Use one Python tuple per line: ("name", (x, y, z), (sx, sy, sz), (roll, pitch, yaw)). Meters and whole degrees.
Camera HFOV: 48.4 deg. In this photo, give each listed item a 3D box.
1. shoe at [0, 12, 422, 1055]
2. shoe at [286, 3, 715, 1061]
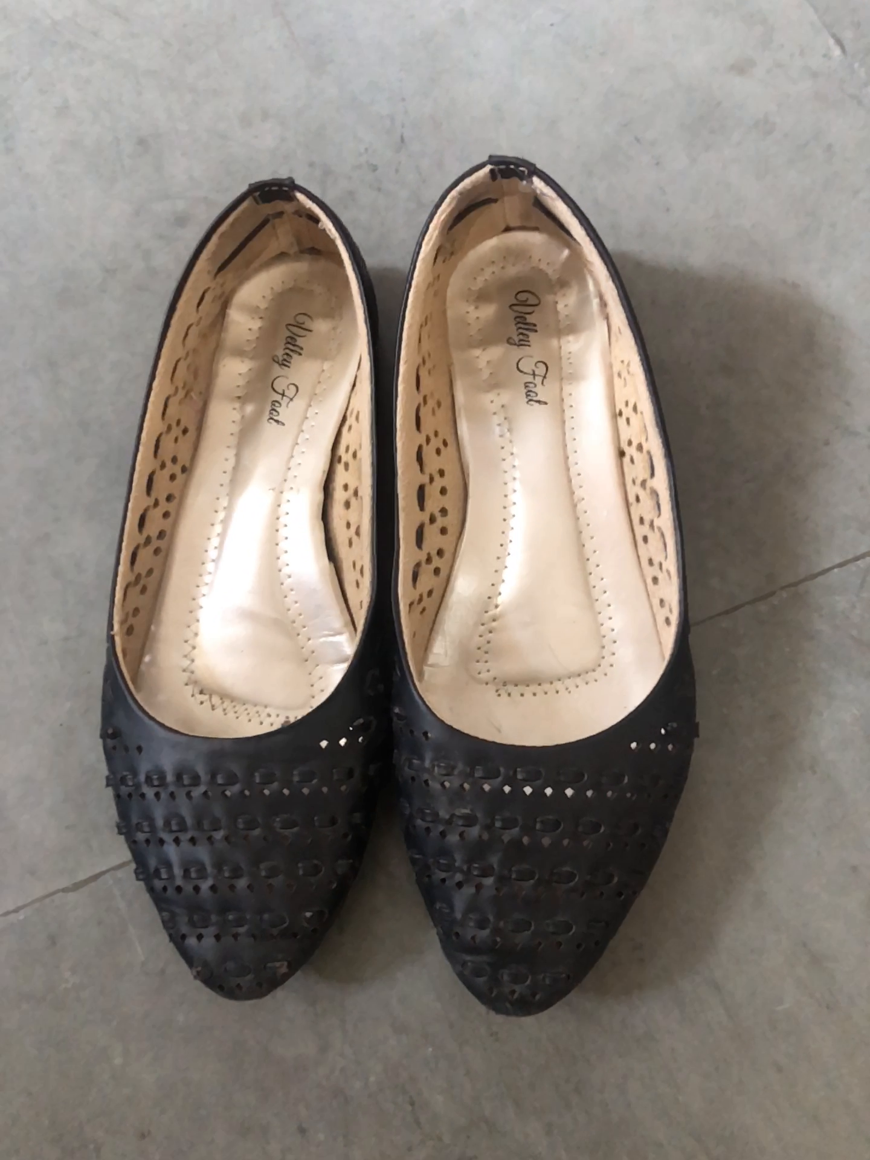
("shoe", (-0.061, -0.016, 0.289), (0.100, 0.070, 0.270), (0, 82, 9))
("shoe", (0.023, -0.021, 0.289), (0.100, 0.070, 0.280), (0, 77, 9))
